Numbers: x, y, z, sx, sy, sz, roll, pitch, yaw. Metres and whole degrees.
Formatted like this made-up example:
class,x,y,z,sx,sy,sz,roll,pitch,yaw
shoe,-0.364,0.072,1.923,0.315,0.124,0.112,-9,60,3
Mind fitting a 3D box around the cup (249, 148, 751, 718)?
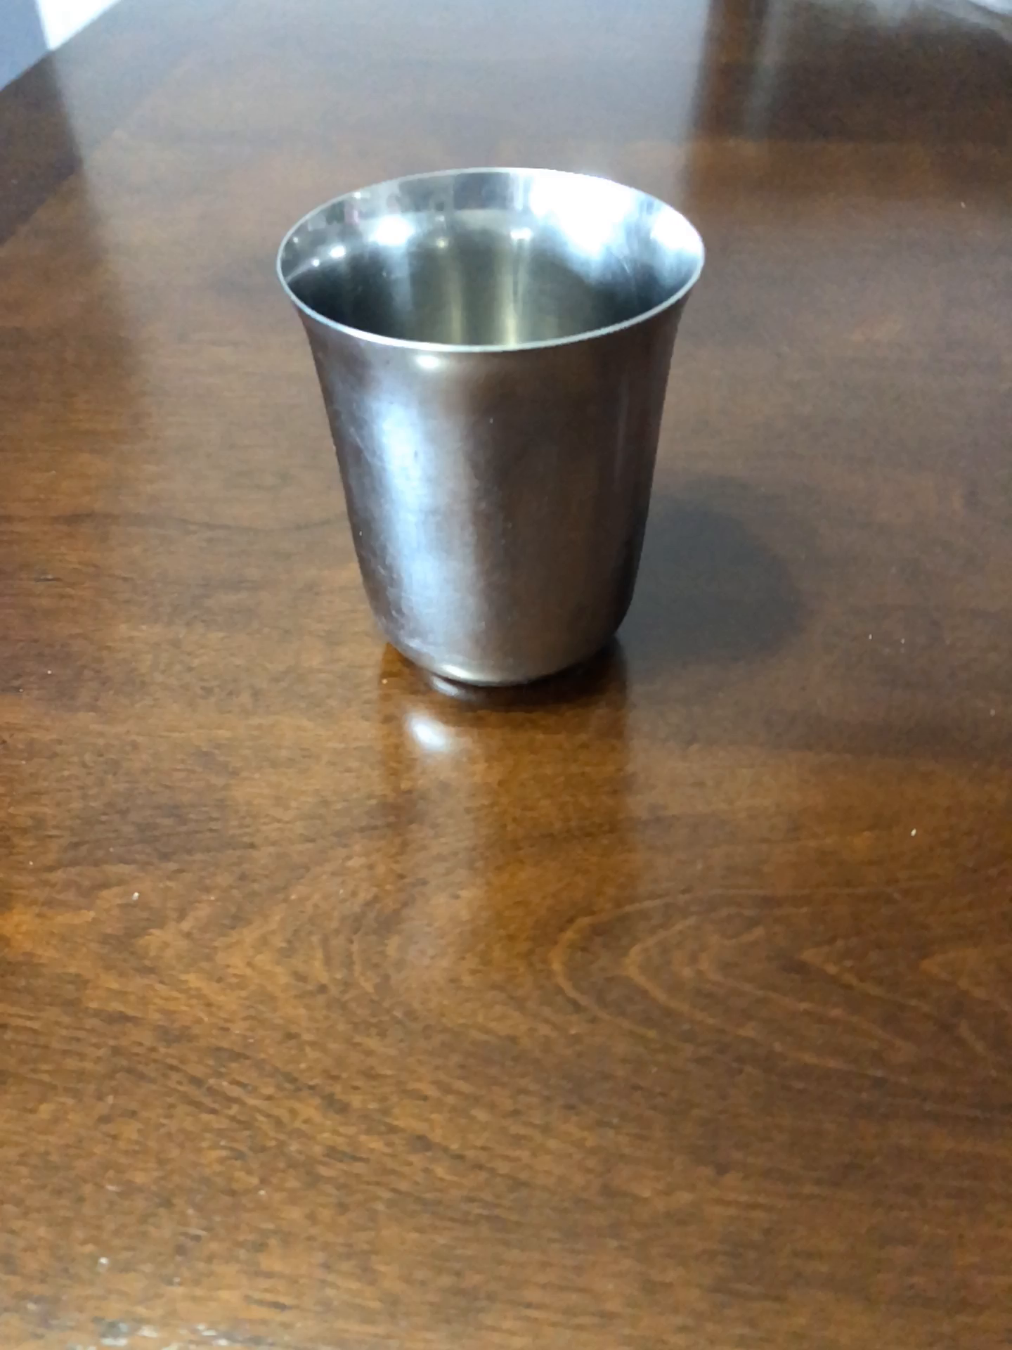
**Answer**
class,x,y,z,sx,sy,sz,roll,pitch,yaw
cup,-0.005,-0.053,0.241,0.080,0.080,0.080,-1,44,1
